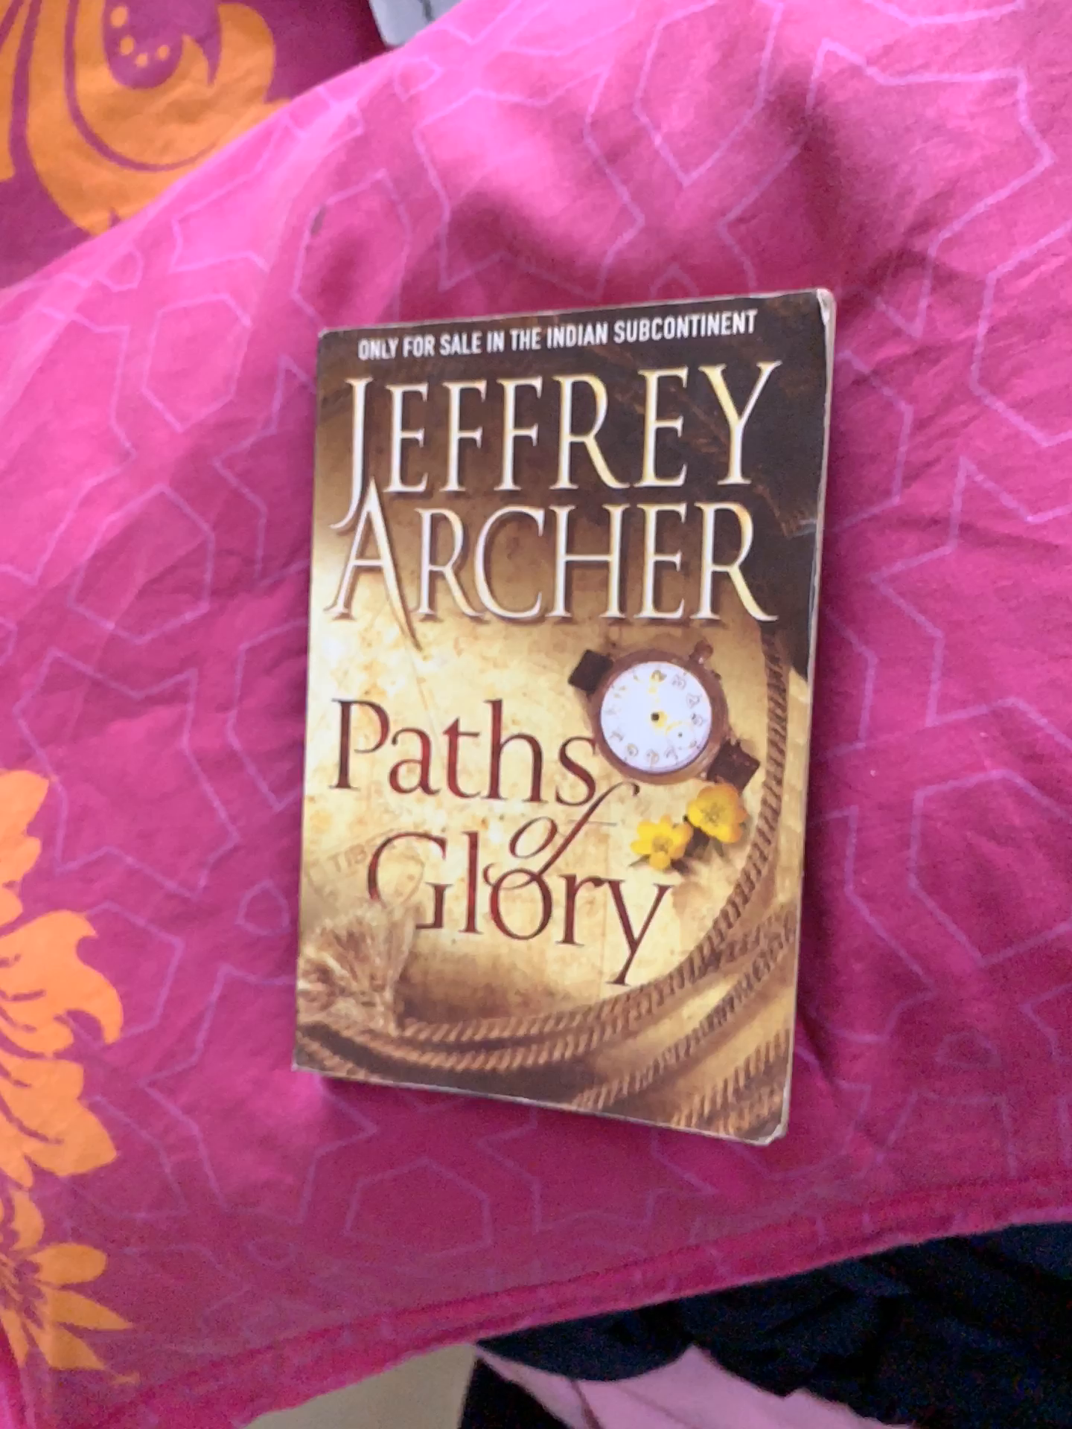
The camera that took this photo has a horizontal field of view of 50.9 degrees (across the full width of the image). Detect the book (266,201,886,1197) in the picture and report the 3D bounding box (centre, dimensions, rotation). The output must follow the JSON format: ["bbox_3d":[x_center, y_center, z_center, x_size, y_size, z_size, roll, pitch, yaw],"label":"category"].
[{"bbox_3d":[0.006,-0.005,0.244,0.120,0.040,0.180,4,93,22],"label":"book"}]
